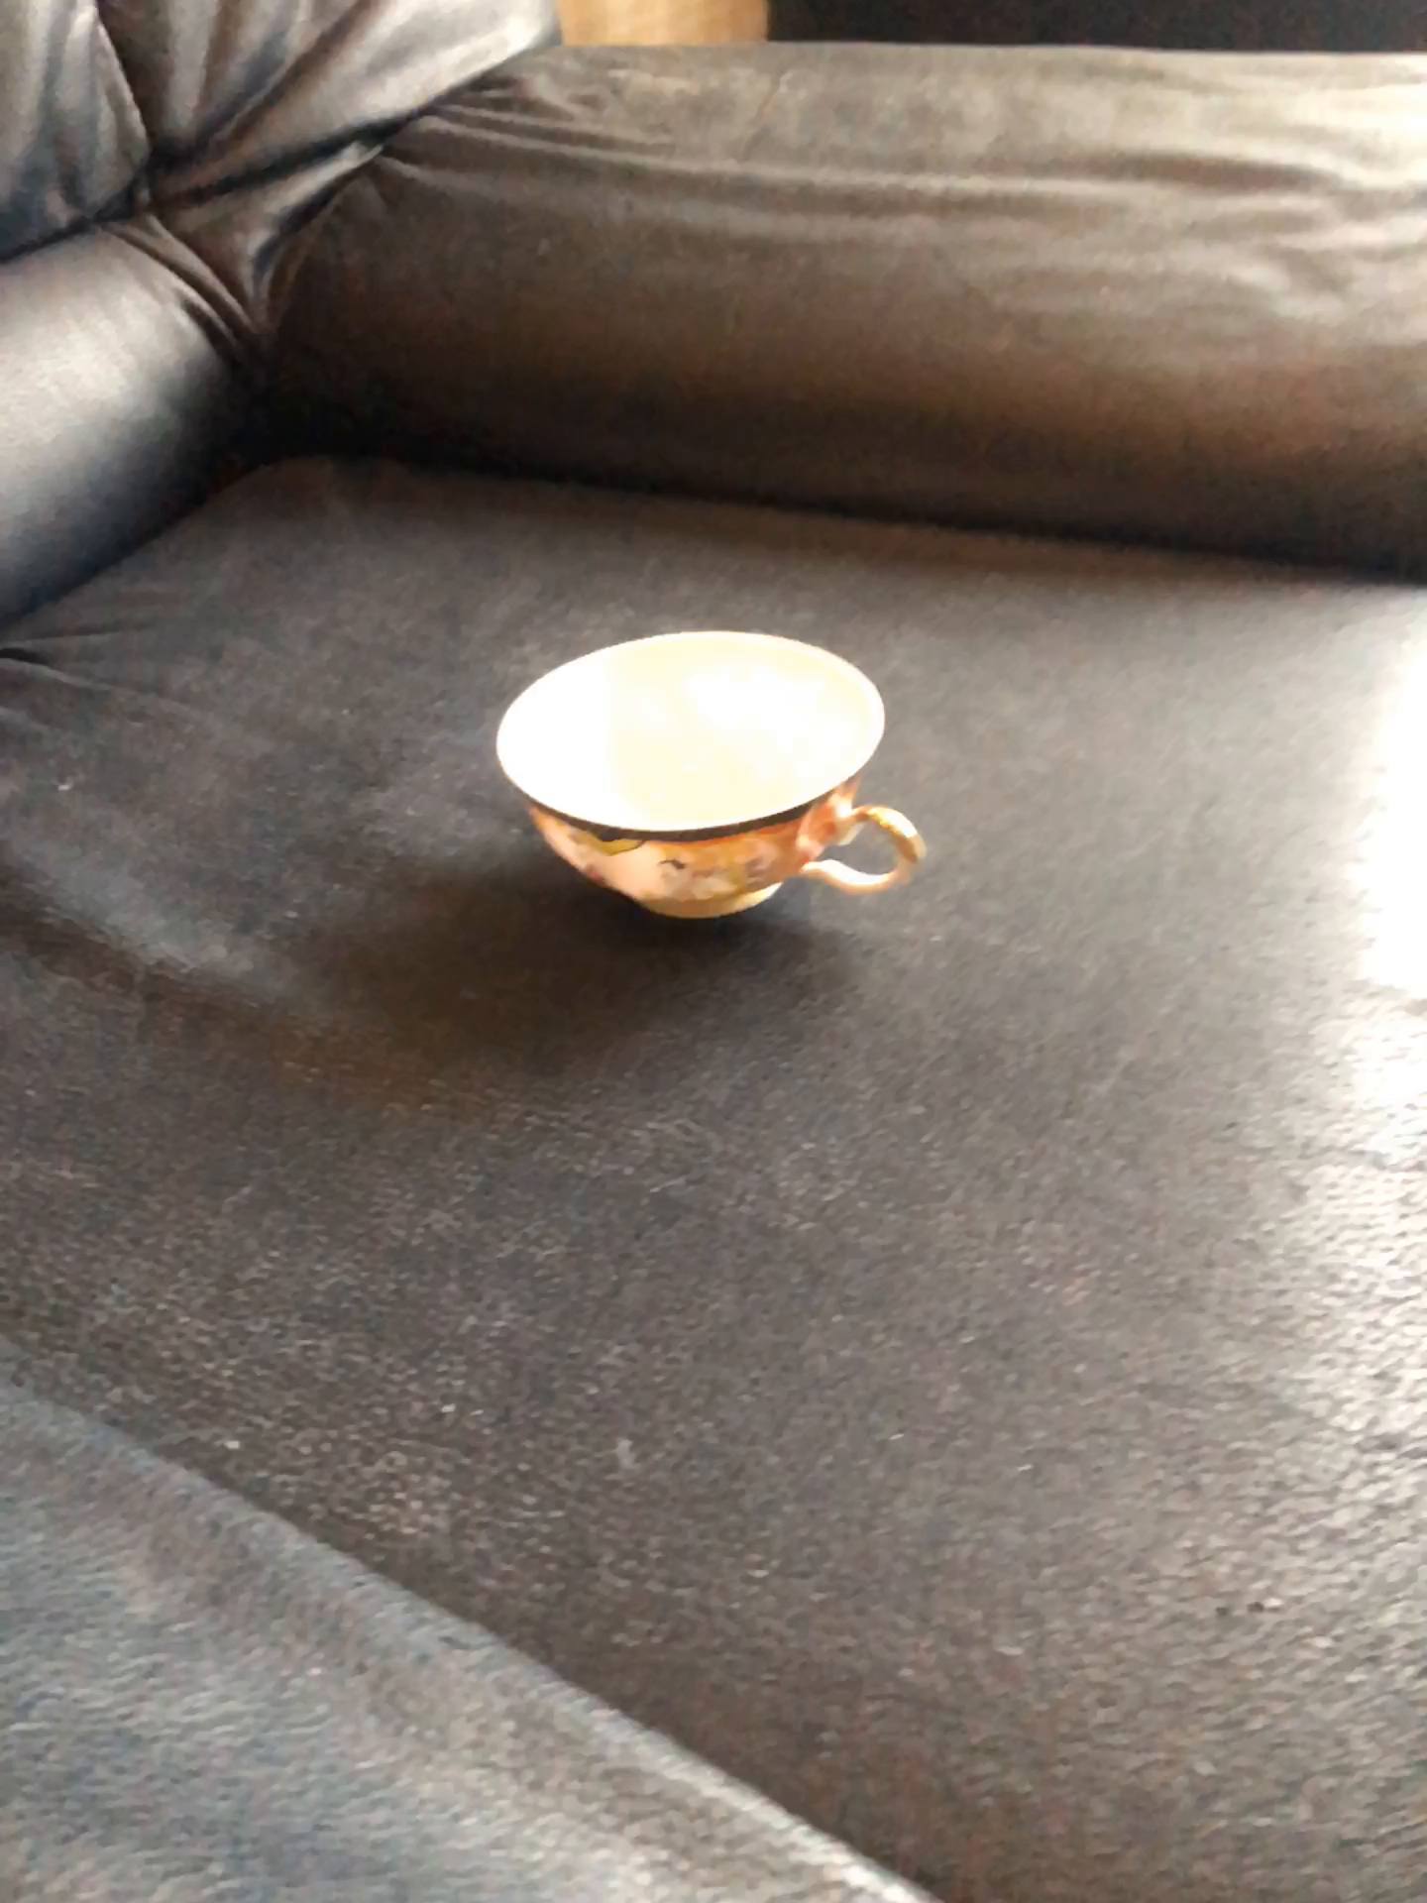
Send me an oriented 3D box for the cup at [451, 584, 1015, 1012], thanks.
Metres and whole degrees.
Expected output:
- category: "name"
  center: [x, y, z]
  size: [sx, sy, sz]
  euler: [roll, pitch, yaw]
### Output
- category: "cup"
  center: [0.008, -0.045, 0.407]
  size: [0.107, 0.041, 0.101]
  euler: [-1, 39, 1]
